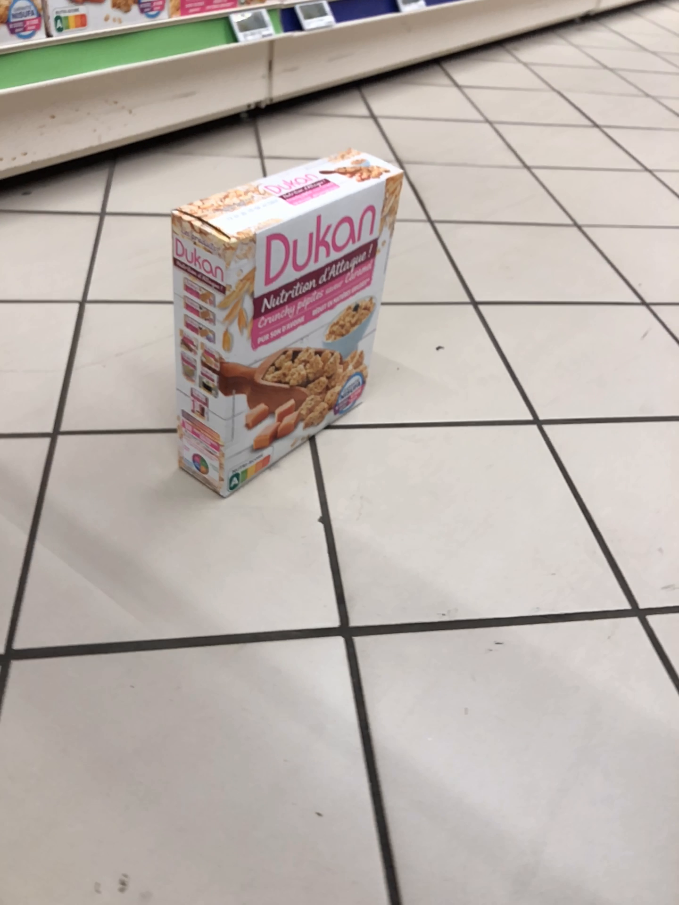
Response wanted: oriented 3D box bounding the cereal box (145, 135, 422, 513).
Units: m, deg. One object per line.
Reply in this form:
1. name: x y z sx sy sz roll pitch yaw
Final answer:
1. cereal box: -0.035 -0.093 0.525 0.060 0.199 0.191 30 44 25
